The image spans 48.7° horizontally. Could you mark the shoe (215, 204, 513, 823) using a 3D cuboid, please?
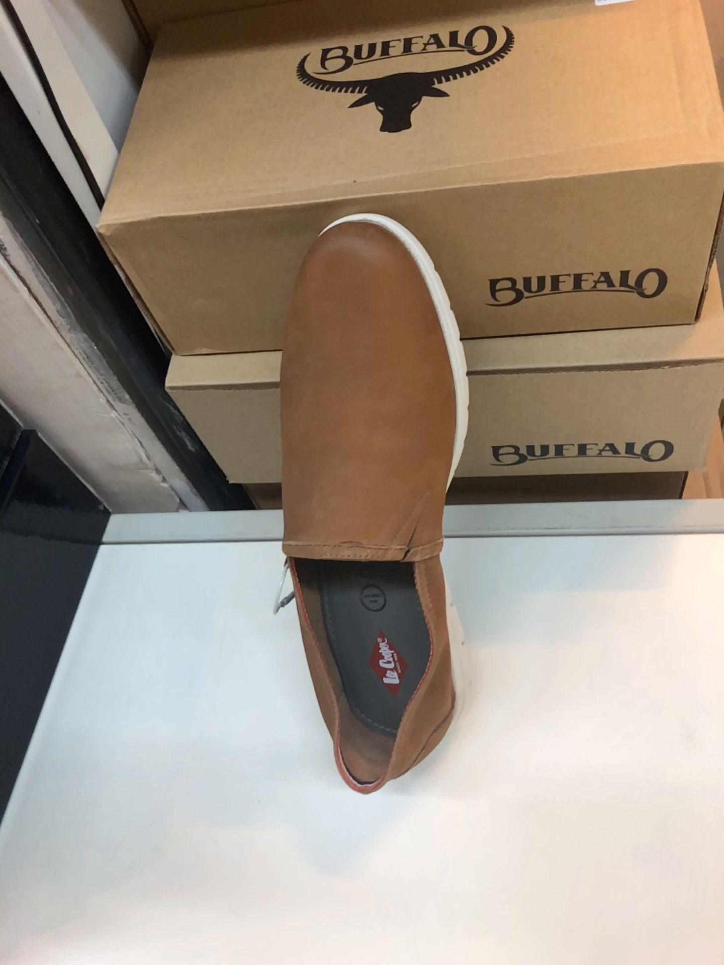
[{"bbox_3d":[0.017,0.008,0.471,0.113,0.310,0.149,2,15,21],"label":"shoe"}]
